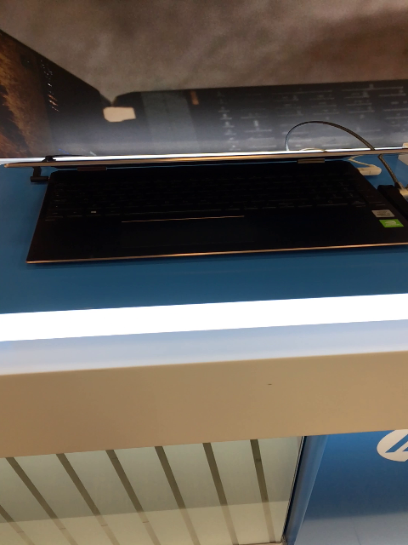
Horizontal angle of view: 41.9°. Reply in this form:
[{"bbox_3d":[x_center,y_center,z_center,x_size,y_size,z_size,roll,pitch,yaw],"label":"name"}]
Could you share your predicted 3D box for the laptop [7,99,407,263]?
[{"bbox_3d":[0.012,-0.114,0.598,0.395,0.090,0.217,-3,35,-5],"label":"laptop"}]
